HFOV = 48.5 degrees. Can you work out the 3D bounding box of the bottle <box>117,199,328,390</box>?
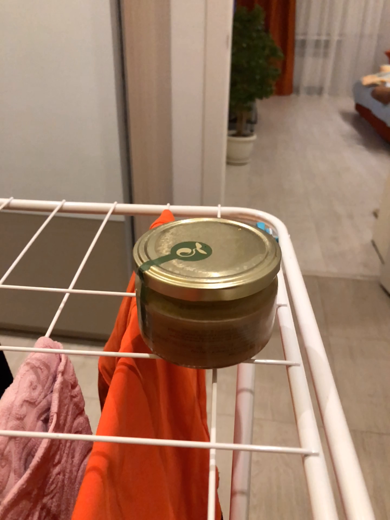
[{"bbox_3d":[0.010,0.012,0.262,0.090,0.060,0.090,1,29,0],"label":"bottle"}]
